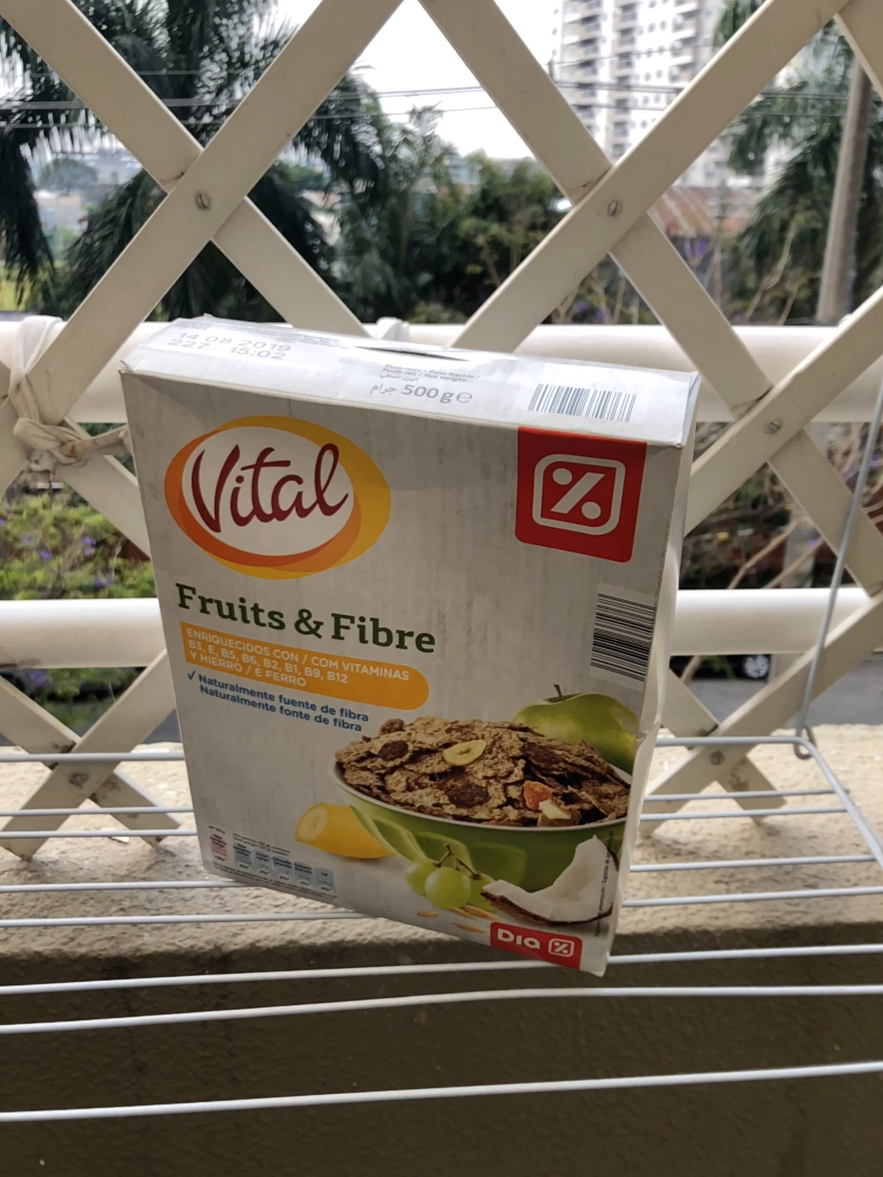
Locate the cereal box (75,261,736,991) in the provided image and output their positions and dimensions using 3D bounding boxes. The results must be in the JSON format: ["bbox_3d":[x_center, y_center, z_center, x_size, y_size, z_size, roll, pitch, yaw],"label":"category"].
[{"bbox_3d":[-0.012,0.021,0.399,0.210,0.268,0.071,10,33,16],"label":"cereal box"}]
